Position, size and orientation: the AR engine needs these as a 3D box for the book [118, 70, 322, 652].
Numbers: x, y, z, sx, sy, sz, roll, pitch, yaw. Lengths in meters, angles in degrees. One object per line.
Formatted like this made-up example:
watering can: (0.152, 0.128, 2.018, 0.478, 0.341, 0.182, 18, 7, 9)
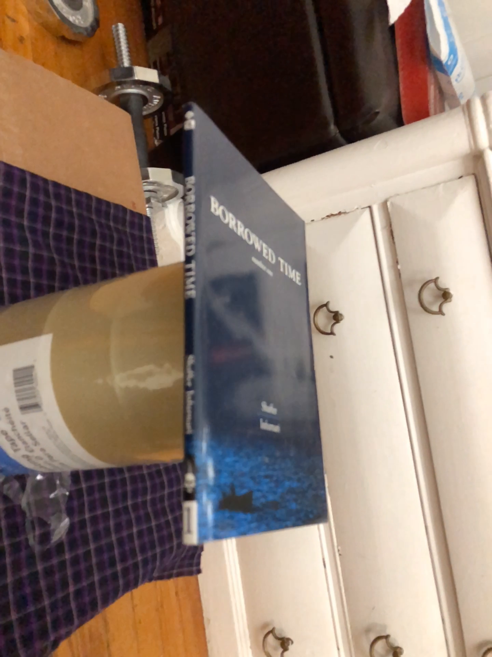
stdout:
book: (-0.006, 0.014, 0.274, 0.161, 0.010, 0.230, 30, 51, -58)
